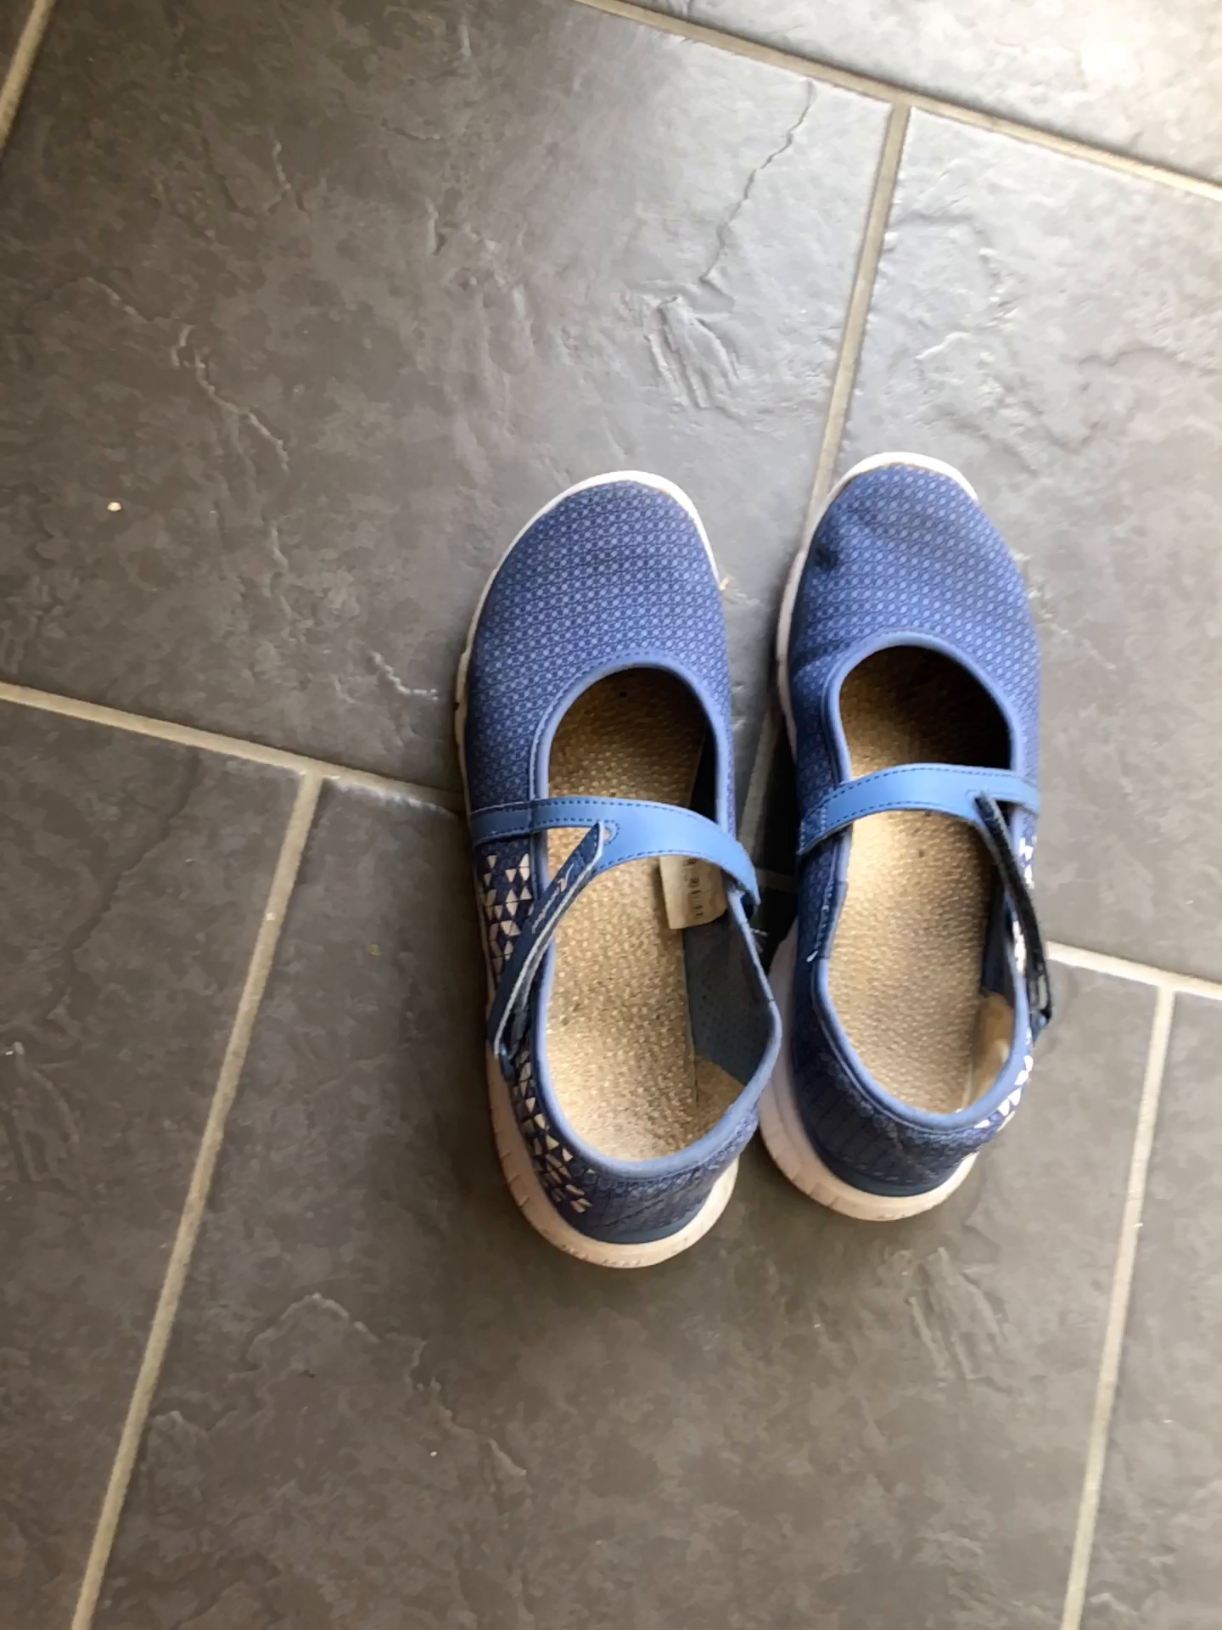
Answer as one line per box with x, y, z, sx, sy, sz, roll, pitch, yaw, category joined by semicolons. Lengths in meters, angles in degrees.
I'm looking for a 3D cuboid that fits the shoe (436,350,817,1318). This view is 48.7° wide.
-0.004;0.007;0.467;0.110;0.120;0.290;0;81;-7;shoe

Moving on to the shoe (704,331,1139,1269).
0.105;-0.002;0.481;0.110;0.120;0.290;4;81;-6;shoe
